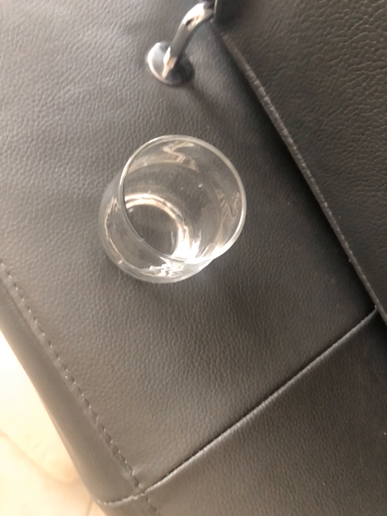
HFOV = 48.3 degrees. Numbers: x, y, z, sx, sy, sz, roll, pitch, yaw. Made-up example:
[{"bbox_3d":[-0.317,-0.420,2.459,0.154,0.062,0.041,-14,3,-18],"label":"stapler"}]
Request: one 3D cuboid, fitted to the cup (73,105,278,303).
[{"bbox_3d":[-0.018,-0.027,0.264,0.080,0.090,0.080,4,79,-19],"label":"cup"}]
